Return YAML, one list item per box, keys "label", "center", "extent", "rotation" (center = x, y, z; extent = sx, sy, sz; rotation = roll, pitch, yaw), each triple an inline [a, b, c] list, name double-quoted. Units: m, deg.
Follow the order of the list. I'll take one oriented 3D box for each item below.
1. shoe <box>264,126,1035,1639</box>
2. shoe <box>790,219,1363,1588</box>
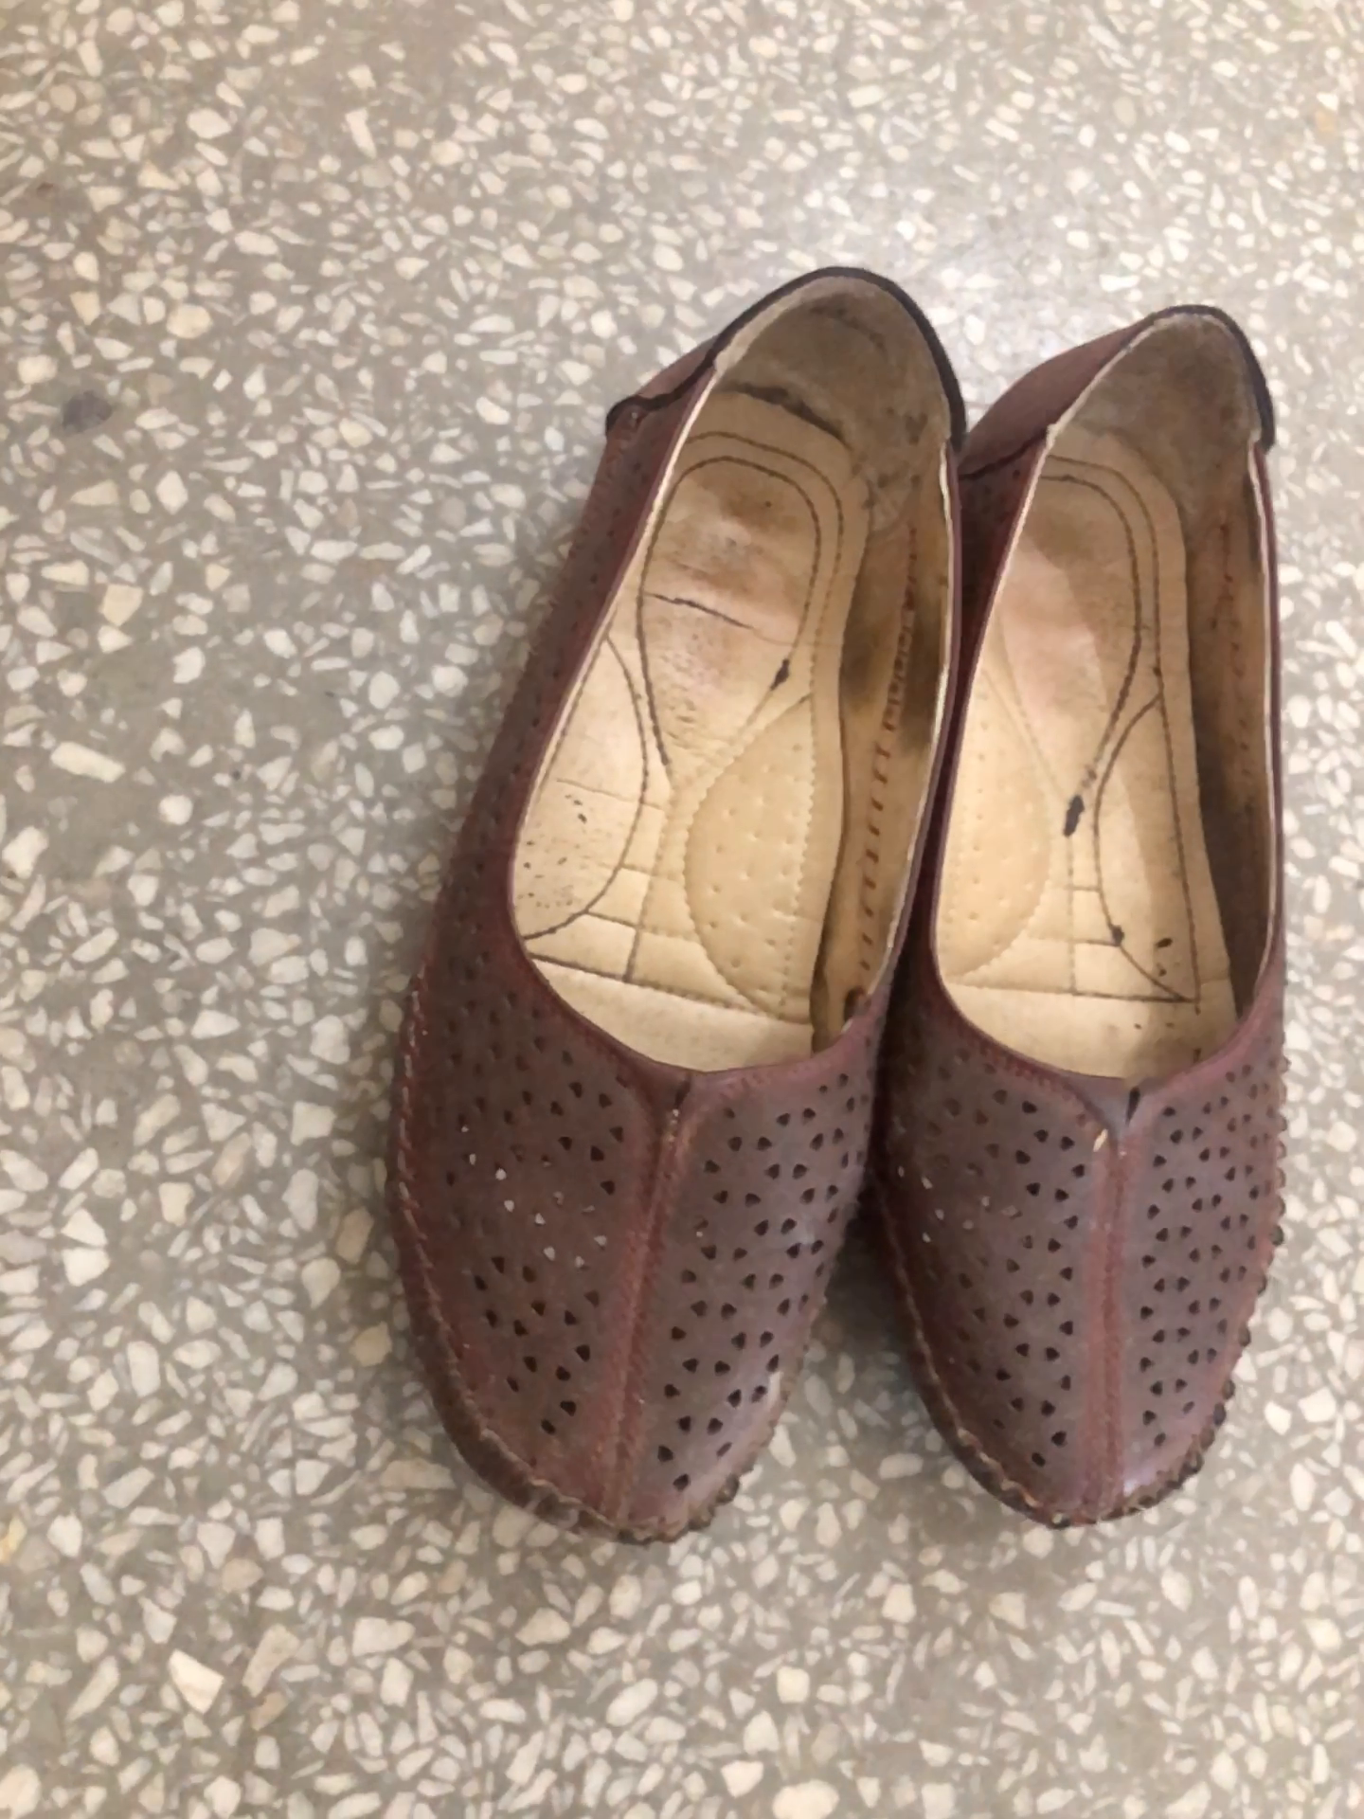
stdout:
- label: "shoe"
  center: [-0.003, -0.007, 0.280]
  extent: [0.087, 0.080, 0.236]
  rotation: [12, 73, -10]
- label: "shoe"
  center: [0.079, -0.001, 0.296]
  extent: [0.095, 0.080, 0.231]
  rotation: [5, 74, -12]
